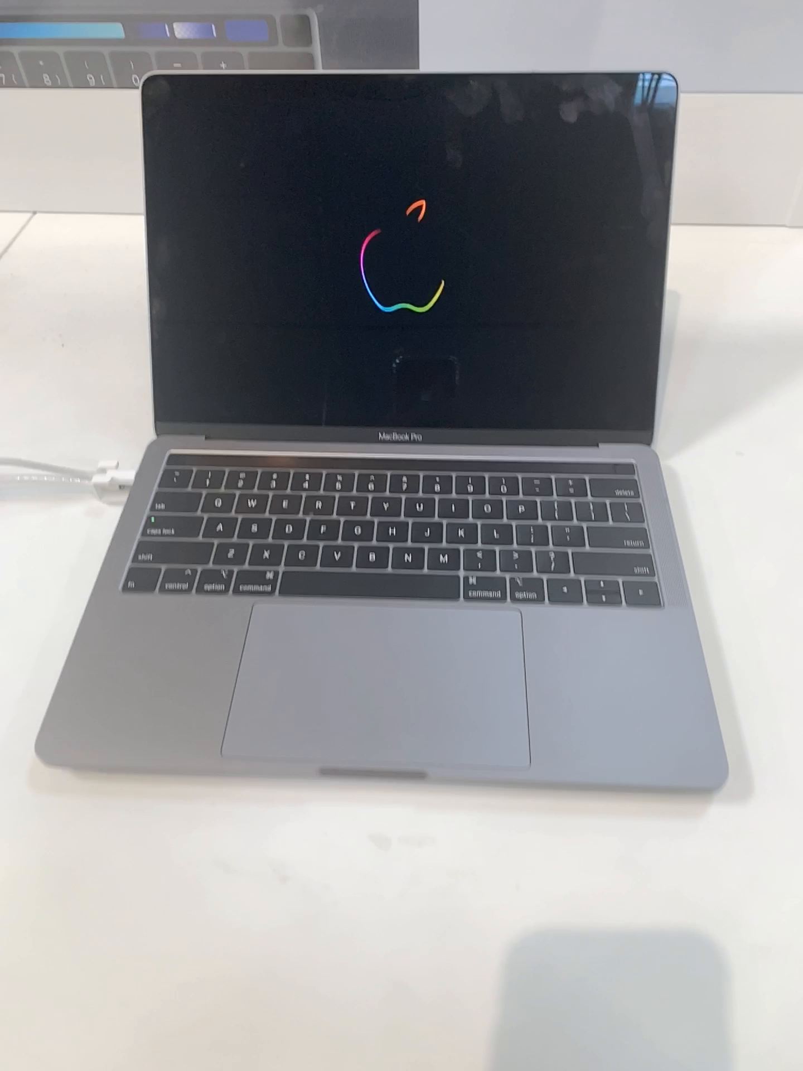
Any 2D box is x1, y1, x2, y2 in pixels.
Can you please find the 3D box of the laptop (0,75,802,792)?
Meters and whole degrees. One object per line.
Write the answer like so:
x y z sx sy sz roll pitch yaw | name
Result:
-0.001 -0.069 0.384 0.284 0.150 0.316 1 50 3 | laptop
